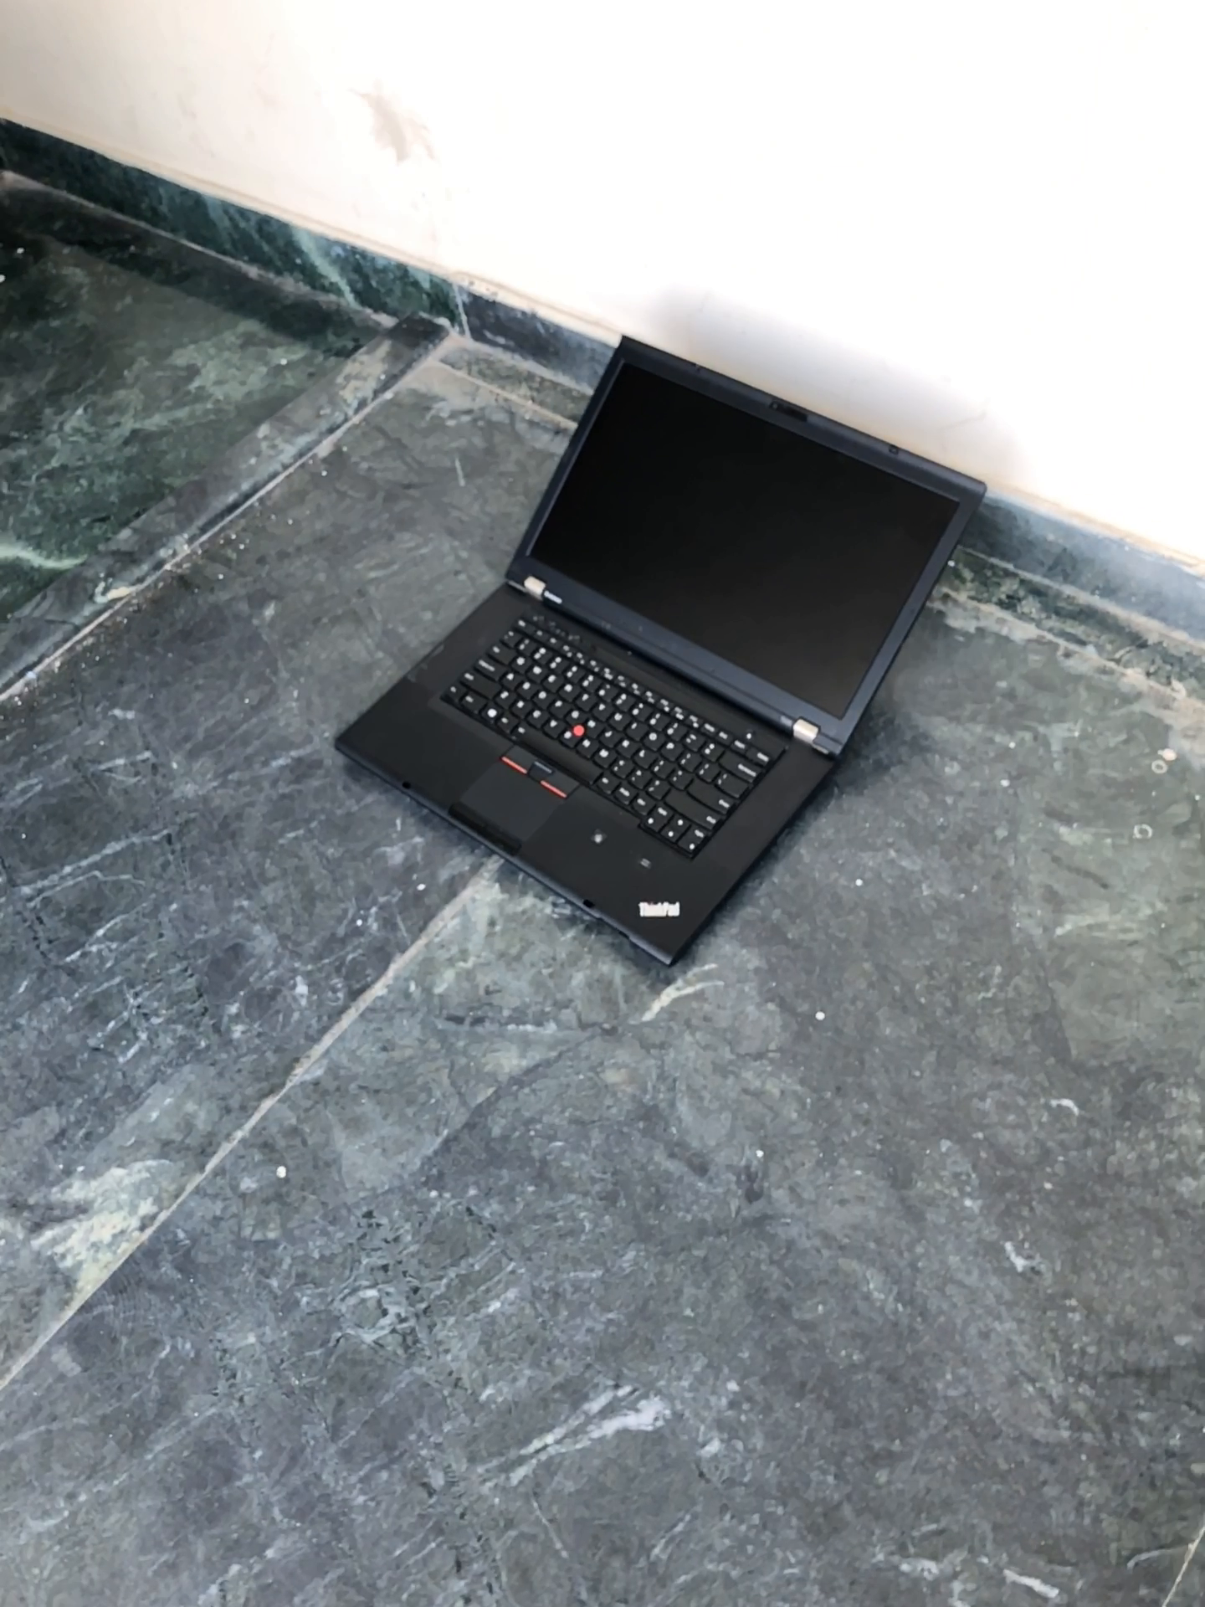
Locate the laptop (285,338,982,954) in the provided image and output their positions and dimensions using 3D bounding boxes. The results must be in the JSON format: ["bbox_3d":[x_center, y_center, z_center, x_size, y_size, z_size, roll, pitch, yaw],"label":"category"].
[{"bbox_3d":[0.030,-0.134,0.955,0.311,0.115,0.376,31,64,25],"label":"laptop"}]
